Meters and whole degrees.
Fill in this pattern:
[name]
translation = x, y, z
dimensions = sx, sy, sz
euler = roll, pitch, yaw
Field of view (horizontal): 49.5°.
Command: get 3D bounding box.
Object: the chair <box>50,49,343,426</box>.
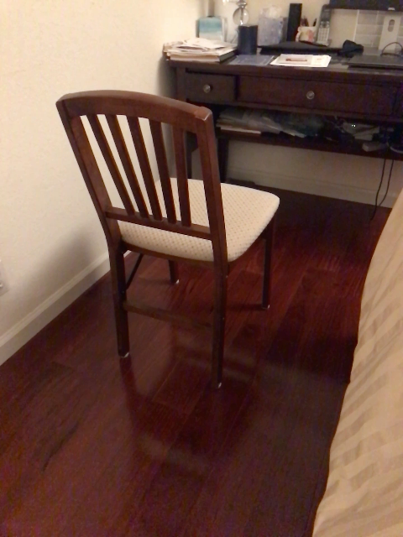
[chair]
translation = 0.049, -0.153, 1.405
dimensions = 0.530, 0.893, 0.725
euler = 14, 36, 20
